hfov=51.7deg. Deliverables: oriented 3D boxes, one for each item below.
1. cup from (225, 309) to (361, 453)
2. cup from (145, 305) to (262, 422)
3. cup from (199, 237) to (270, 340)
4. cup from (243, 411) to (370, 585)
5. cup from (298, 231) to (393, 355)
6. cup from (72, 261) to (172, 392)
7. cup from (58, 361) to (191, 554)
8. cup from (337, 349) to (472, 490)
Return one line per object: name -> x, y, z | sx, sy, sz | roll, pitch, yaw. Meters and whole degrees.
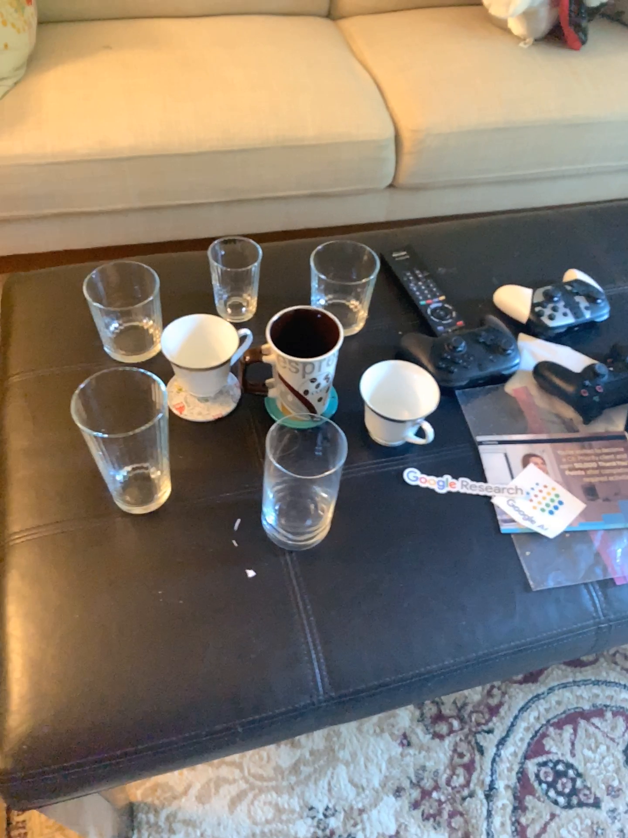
cup -> -0.028, -0.043, 0.751 | 0.130, 0.119, 0.090 | -10, 54, -12
cup -> -0.128, -0.066, 0.760 | 0.110, 0.070, 0.090 | -16, 55, -16
cup -> -0.104, -0.173, 0.863 | 0.070, 0.100, 0.070 | 2, 52, -3
cup -> -0.012, 0.079, 0.630 | 0.090, 0.139, 0.090 | 2, 52, -3
cup -> 0.038, -0.166, 0.863 | 0.090, 0.119, 0.090 | 2, 52, -3
cup -> -0.240, -0.115, 0.816 | 0.090, 0.119, 0.090 | 2, 52, -3
cup -> -0.190, 0.045, 0.669 | 0.090, 0.189, 0.090 | 2, 52, -3
cup -> 0.101, -0.001, 0.744 | 0.110, 0.080, 0.090 | 37, 58, 22
